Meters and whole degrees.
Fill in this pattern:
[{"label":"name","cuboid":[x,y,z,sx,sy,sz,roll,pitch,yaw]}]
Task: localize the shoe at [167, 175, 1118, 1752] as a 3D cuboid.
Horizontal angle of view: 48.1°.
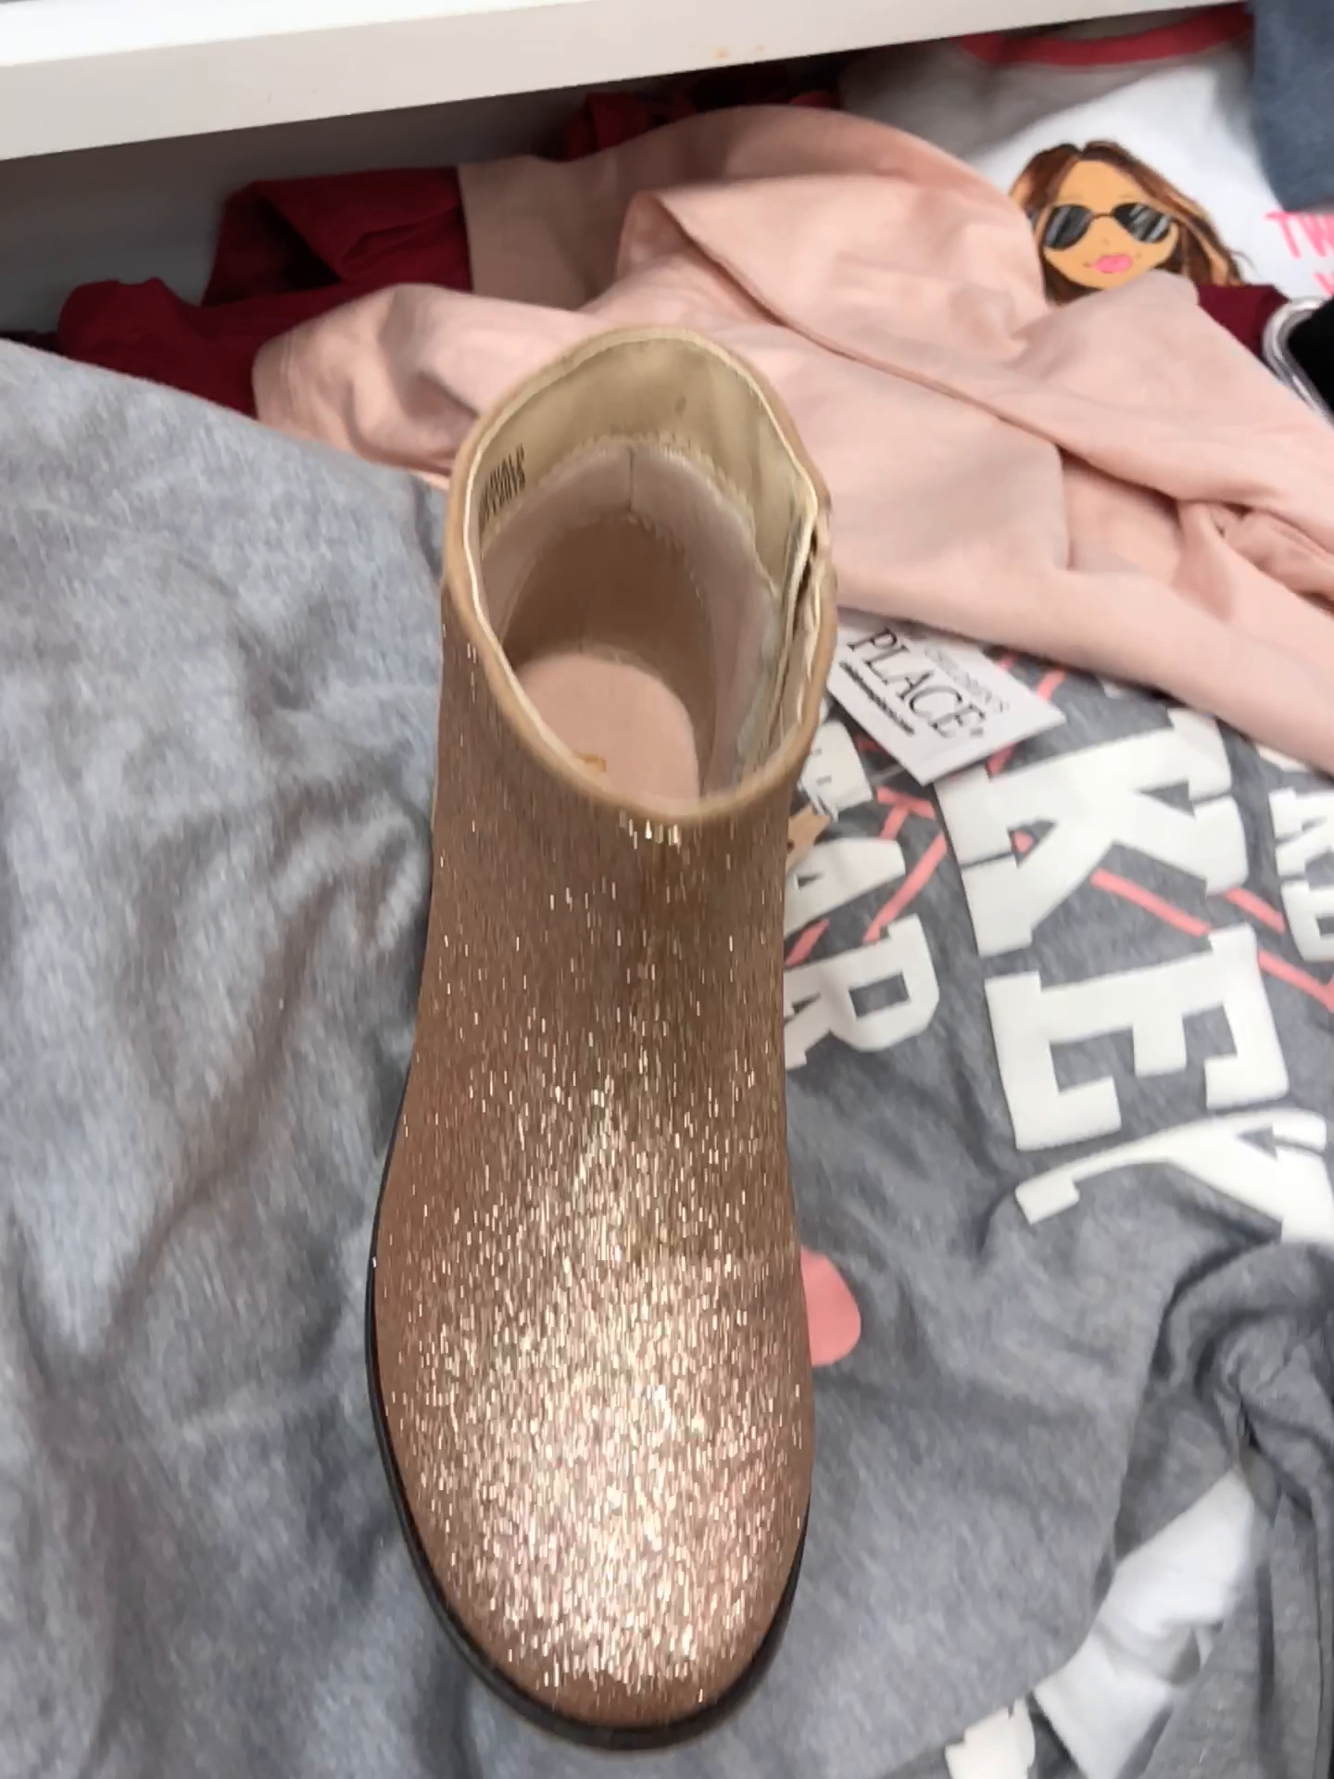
[{"label":"shoe","cuboid":[-0.011,-0.002,0.257,0.083,0.129,0.238,1,49,-5]}]
